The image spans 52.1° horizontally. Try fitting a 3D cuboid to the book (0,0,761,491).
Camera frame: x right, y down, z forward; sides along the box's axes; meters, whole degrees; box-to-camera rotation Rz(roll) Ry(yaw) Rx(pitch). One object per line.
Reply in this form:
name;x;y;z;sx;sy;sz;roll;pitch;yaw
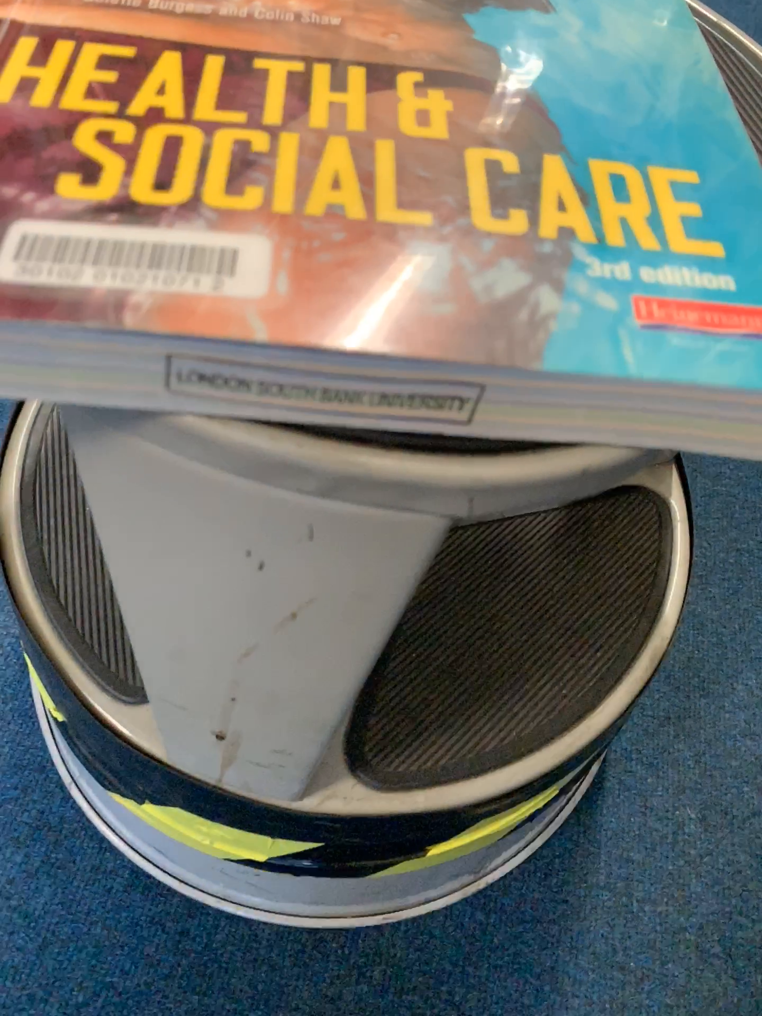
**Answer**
book;-0.005;-0.131;0.213;0.200;0.030;0.272;3;57;-6
